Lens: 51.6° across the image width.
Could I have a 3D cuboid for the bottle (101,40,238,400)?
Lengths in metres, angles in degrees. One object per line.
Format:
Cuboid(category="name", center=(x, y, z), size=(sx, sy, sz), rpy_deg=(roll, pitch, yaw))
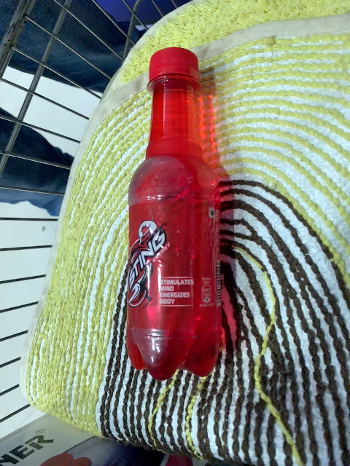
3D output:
Cuboid(category="bottle", center=(-0.004, -0.007, 0.202), size=(0.060, 0.040, 0.170), rpy_deg=(-4, 84, 31))
